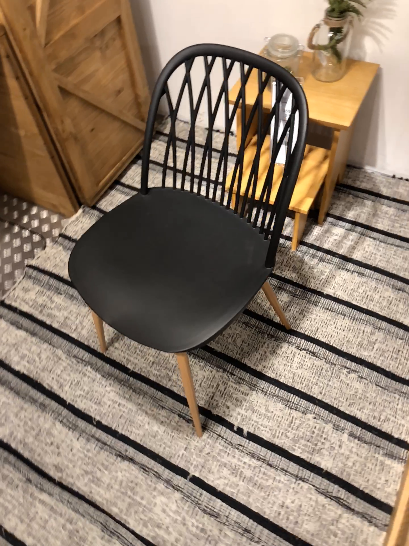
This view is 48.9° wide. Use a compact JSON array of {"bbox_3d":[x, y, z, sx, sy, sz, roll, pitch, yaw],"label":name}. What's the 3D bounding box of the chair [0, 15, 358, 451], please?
[{"bbox_3d":[-0.053,-0.050,1.090,0.471,0.776,0.542,33,63,26],"label":"chair"}]
